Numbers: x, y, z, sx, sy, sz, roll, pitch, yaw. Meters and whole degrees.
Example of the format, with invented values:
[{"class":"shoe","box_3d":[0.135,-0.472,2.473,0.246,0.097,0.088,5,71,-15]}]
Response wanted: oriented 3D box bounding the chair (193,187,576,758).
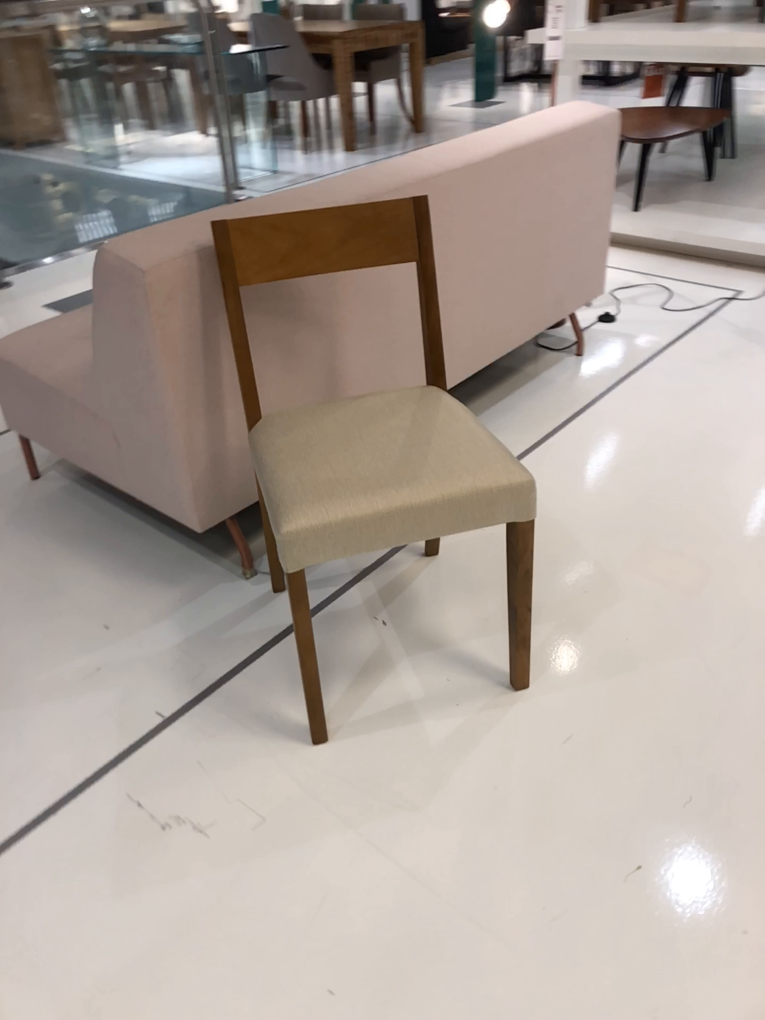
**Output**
[{"class":"chair","box_3d":[-0.019,-0.092,1.577,0.490,0.814,0.594,-11,34,-10]}]
